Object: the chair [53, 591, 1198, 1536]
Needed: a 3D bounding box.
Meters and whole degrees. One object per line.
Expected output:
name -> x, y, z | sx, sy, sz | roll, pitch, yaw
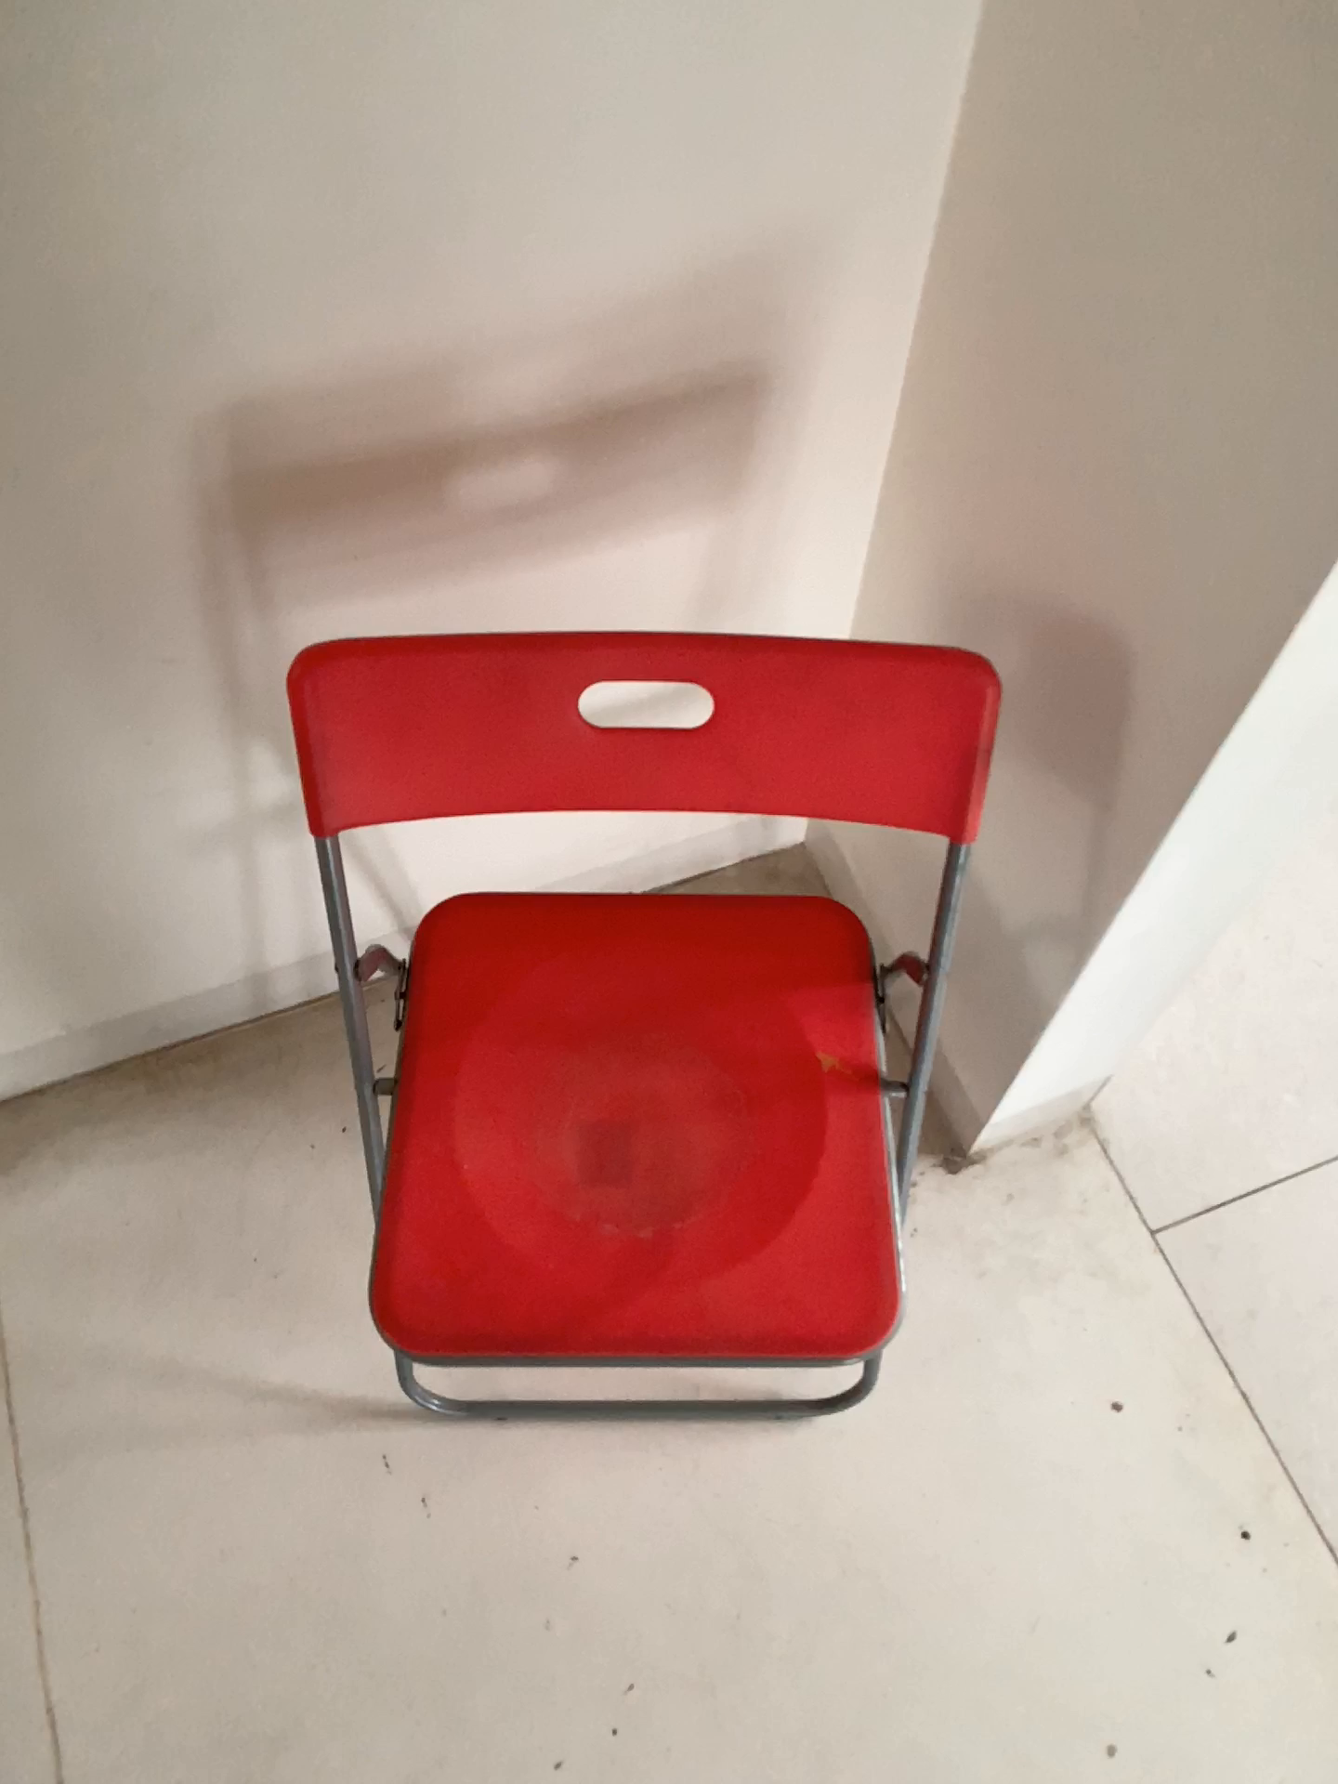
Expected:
chair -> -0.028, 0.175, 1.016 | 0.530, 0.609, 0.501 | 0, 60, -2
